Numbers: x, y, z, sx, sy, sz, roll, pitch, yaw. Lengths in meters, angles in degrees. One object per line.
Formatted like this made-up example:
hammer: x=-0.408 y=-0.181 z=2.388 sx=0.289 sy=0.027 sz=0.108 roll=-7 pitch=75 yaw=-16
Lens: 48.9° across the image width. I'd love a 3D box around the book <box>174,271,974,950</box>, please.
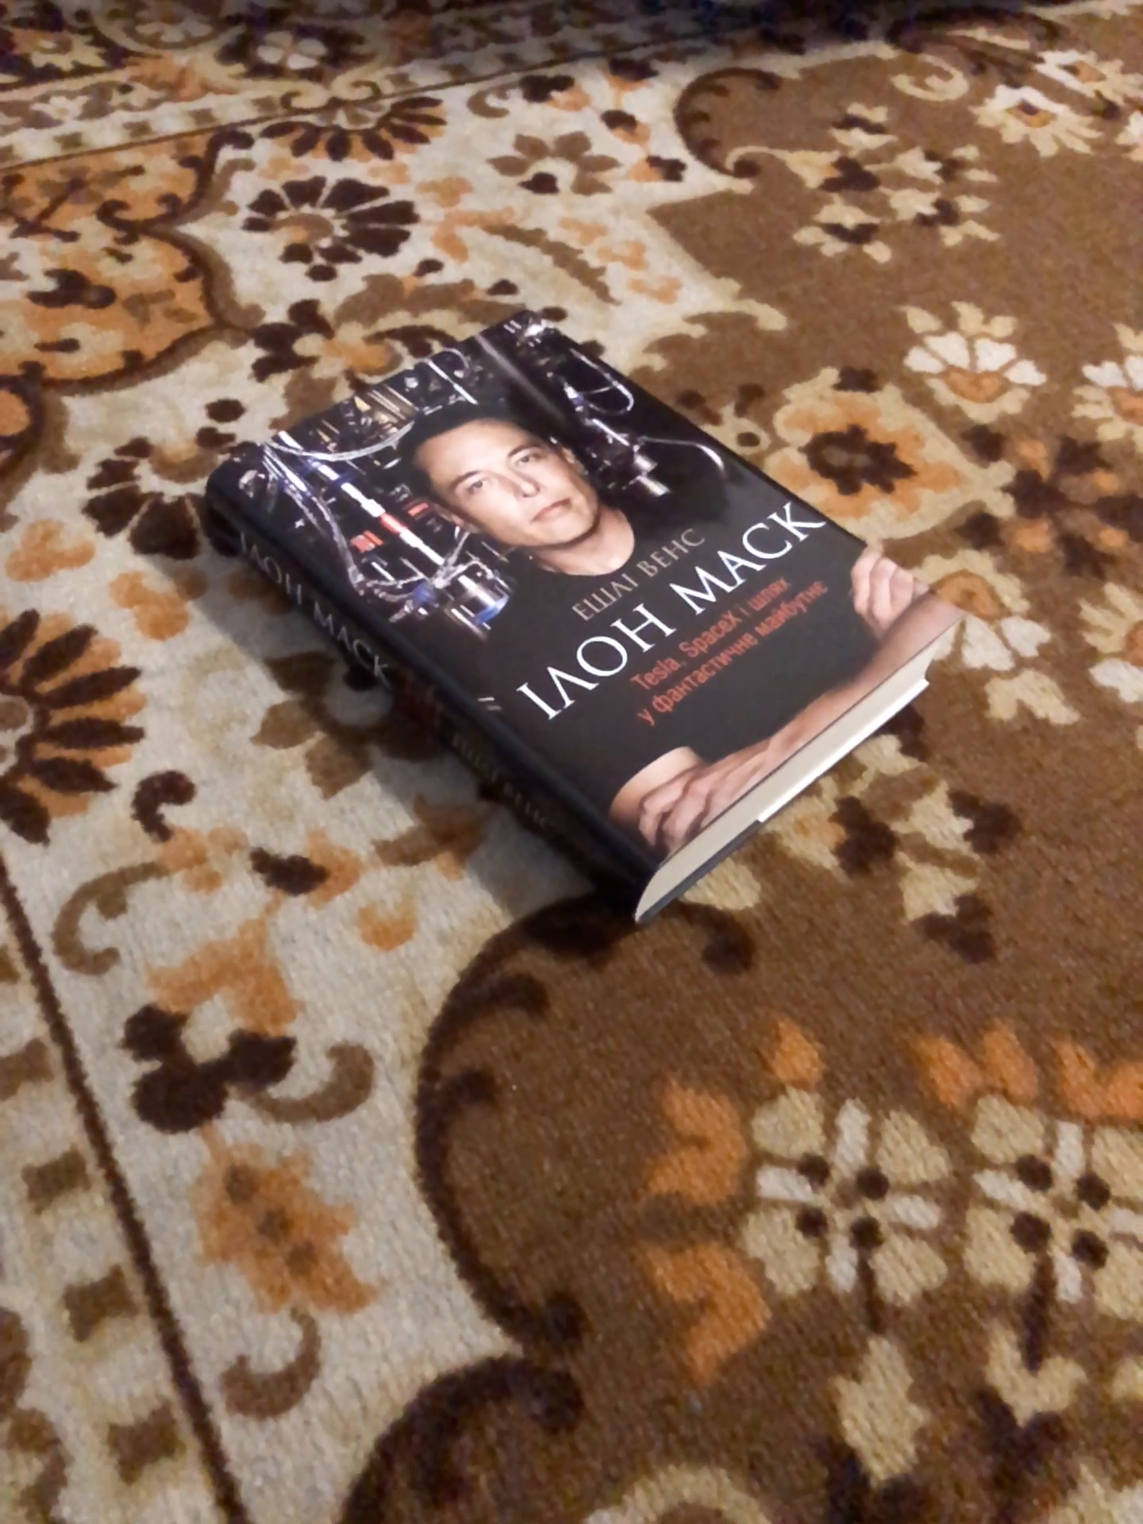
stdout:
book: x=-0.003 y=-0.078 z=0.498 sx=0.185 sy=0.050 sz=0.251 roll=-35 pitch=66 yaw=-26
